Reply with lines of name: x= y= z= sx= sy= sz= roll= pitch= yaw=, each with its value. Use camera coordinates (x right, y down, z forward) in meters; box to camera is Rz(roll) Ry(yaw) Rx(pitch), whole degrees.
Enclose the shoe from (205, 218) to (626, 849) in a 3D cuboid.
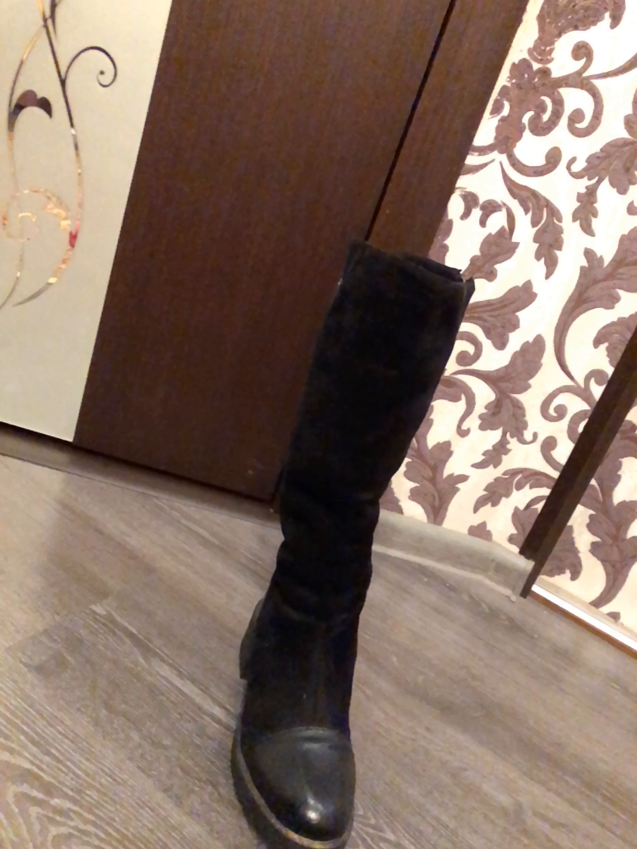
shoe: x=0.023 y=0.082 z=0.529 sx=0.100 sy=0.408 sz=0.251 roll=13 pitch=22 yaw=-18
